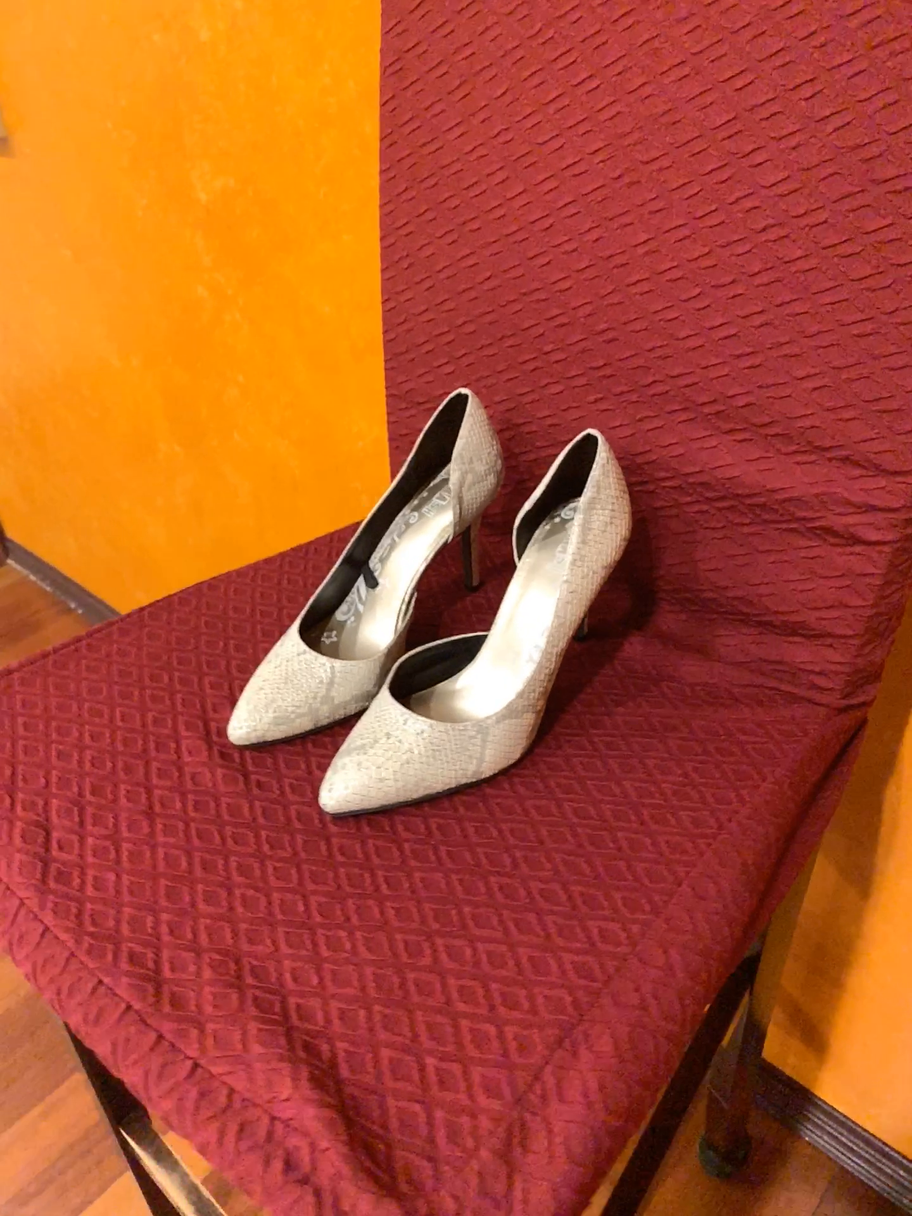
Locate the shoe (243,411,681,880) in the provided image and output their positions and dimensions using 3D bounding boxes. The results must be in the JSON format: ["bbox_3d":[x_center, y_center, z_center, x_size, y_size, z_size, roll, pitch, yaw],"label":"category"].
[{"bbox_3d":[0.018,0.007,0.523,0.090,0.120,0.249,26,49,31],"label":"shoe"}]

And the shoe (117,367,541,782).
[{"bbox_3d":[-0.058,-0.033,0.574,0.090,0.119,0.252,26,49,31],"label":"shoe"}]
